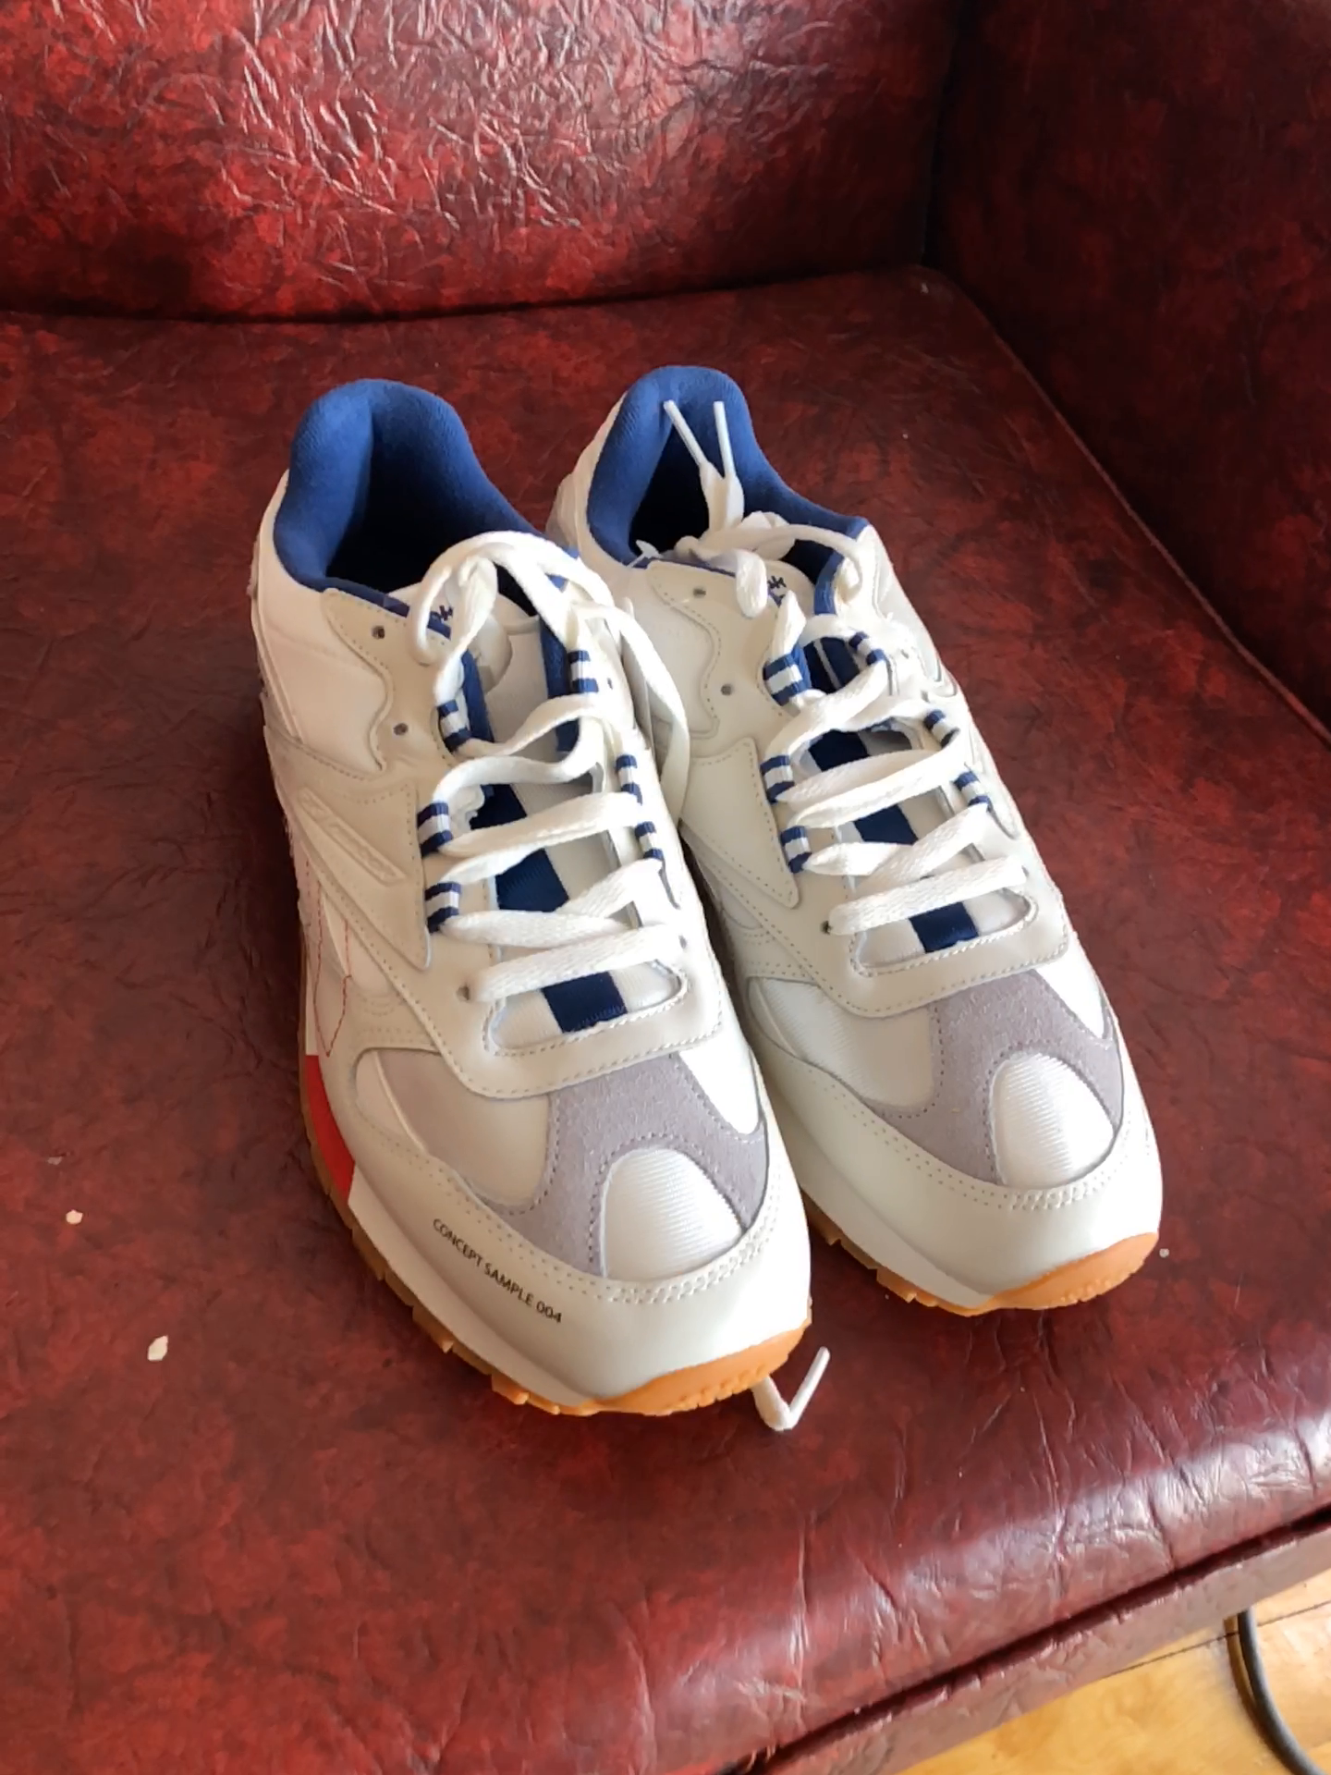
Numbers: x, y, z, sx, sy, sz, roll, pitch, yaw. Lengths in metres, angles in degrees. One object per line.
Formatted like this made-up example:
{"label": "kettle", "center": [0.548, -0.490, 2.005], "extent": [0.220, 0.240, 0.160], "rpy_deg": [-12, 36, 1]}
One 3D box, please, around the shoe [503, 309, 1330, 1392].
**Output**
{"label": "shoe", "center": [0.059, -0.026, 0.401], "extent": [0.110, 0.099, 0.271], "rpy_deg": [-14, 61, -22]}

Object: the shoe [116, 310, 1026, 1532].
{"label": "shoe", "center": [-0.043, -0.009, 0.360], "extent": [0.110, 0.099, 0.271], "rpy_deg": [-14, 61, -22]}
